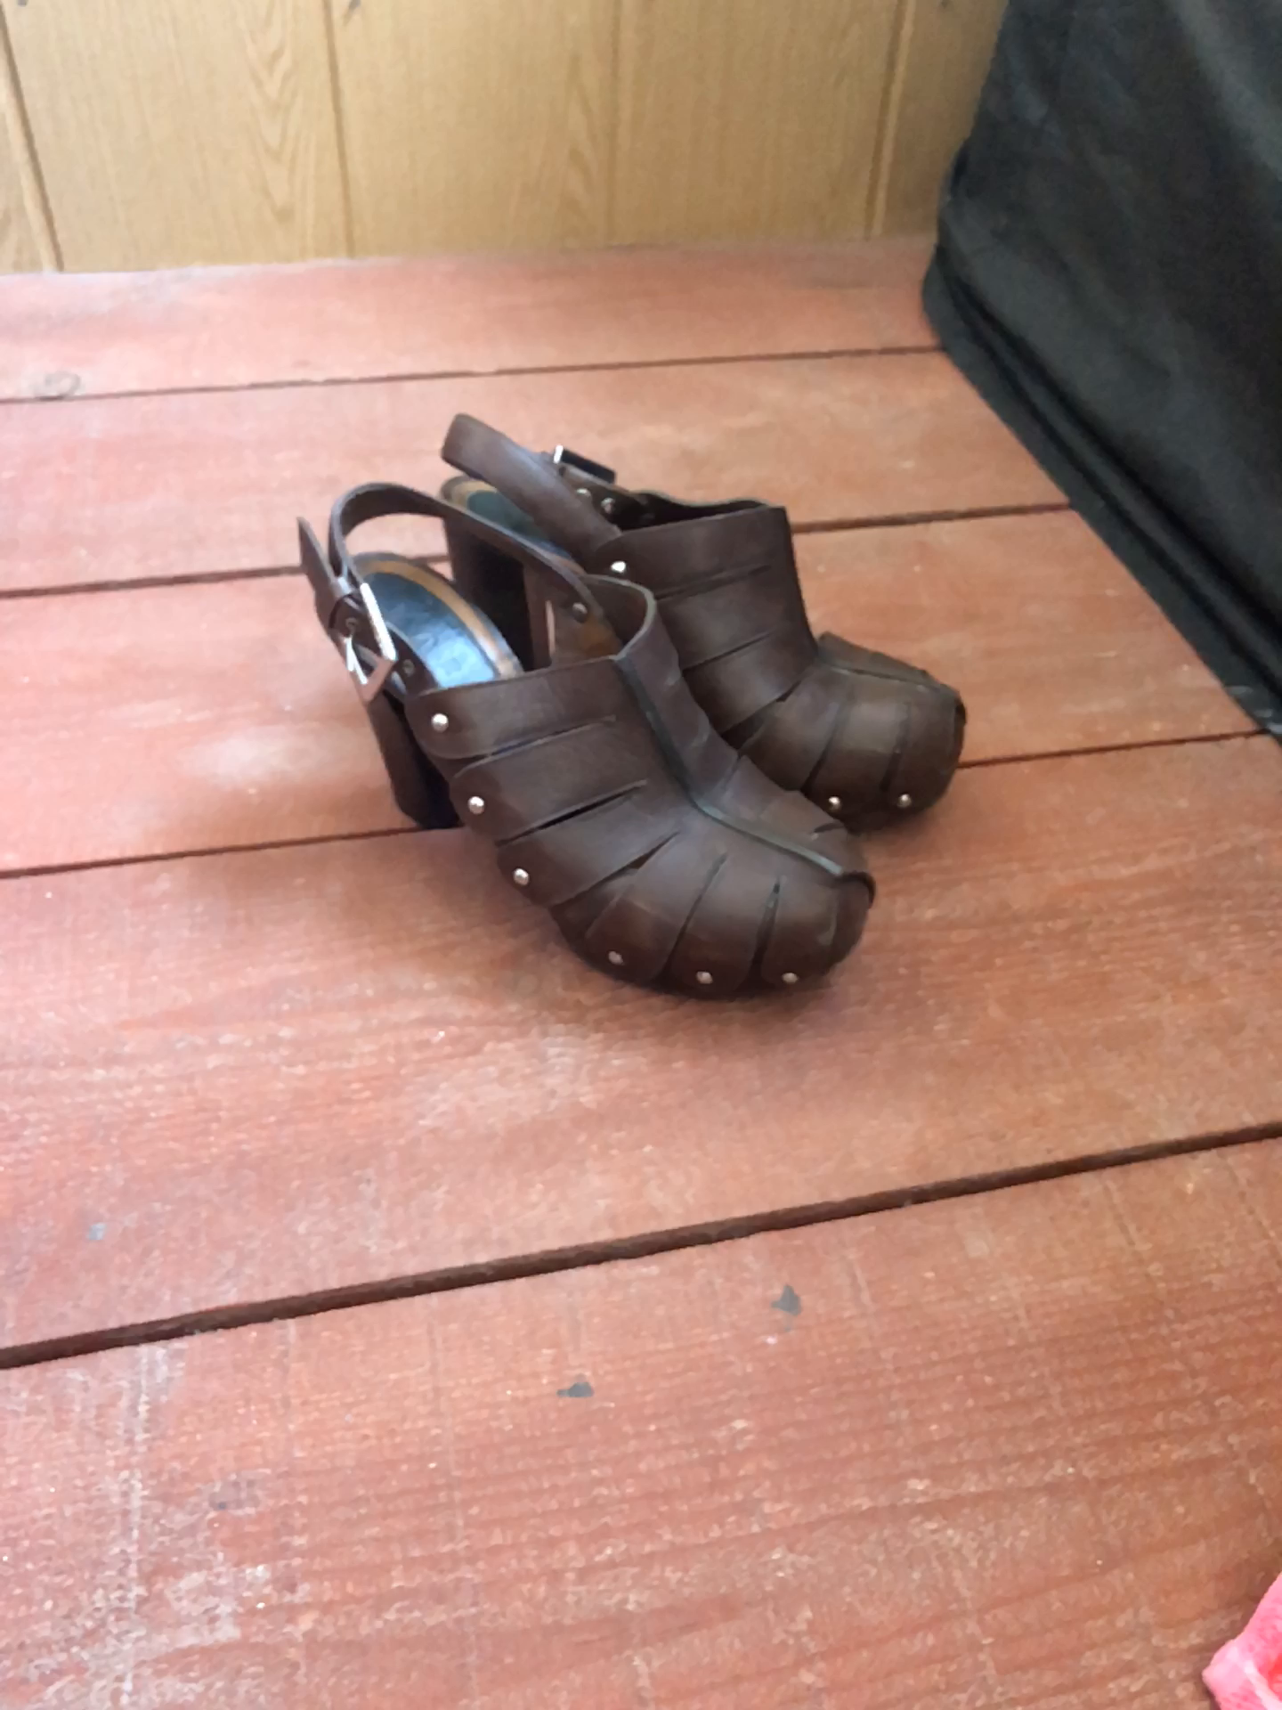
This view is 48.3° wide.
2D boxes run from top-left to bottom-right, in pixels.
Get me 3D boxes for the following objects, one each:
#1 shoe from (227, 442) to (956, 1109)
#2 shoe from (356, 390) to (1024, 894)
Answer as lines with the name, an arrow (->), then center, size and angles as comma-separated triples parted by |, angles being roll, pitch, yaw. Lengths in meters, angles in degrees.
shoe -> -0.021, -0.032, 0.465 | 0.210, 0.120, 0.080 | 28, 49, 24
shoe -> 0.016, -0.079, 0.510 | 0.210, 0.110, 0.080 | 15, 32, 7
